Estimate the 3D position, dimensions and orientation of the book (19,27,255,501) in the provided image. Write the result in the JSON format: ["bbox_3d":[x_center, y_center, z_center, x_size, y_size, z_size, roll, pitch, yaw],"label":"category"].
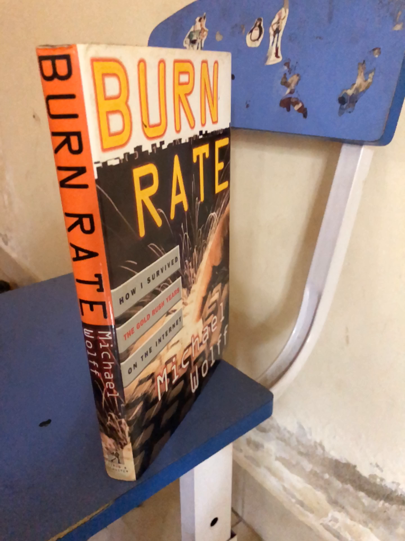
[{"bbox_3d":[-0.015,-0.018,0.307,0.040,0.239,0.201,8,23,22],"label":"book"}]
